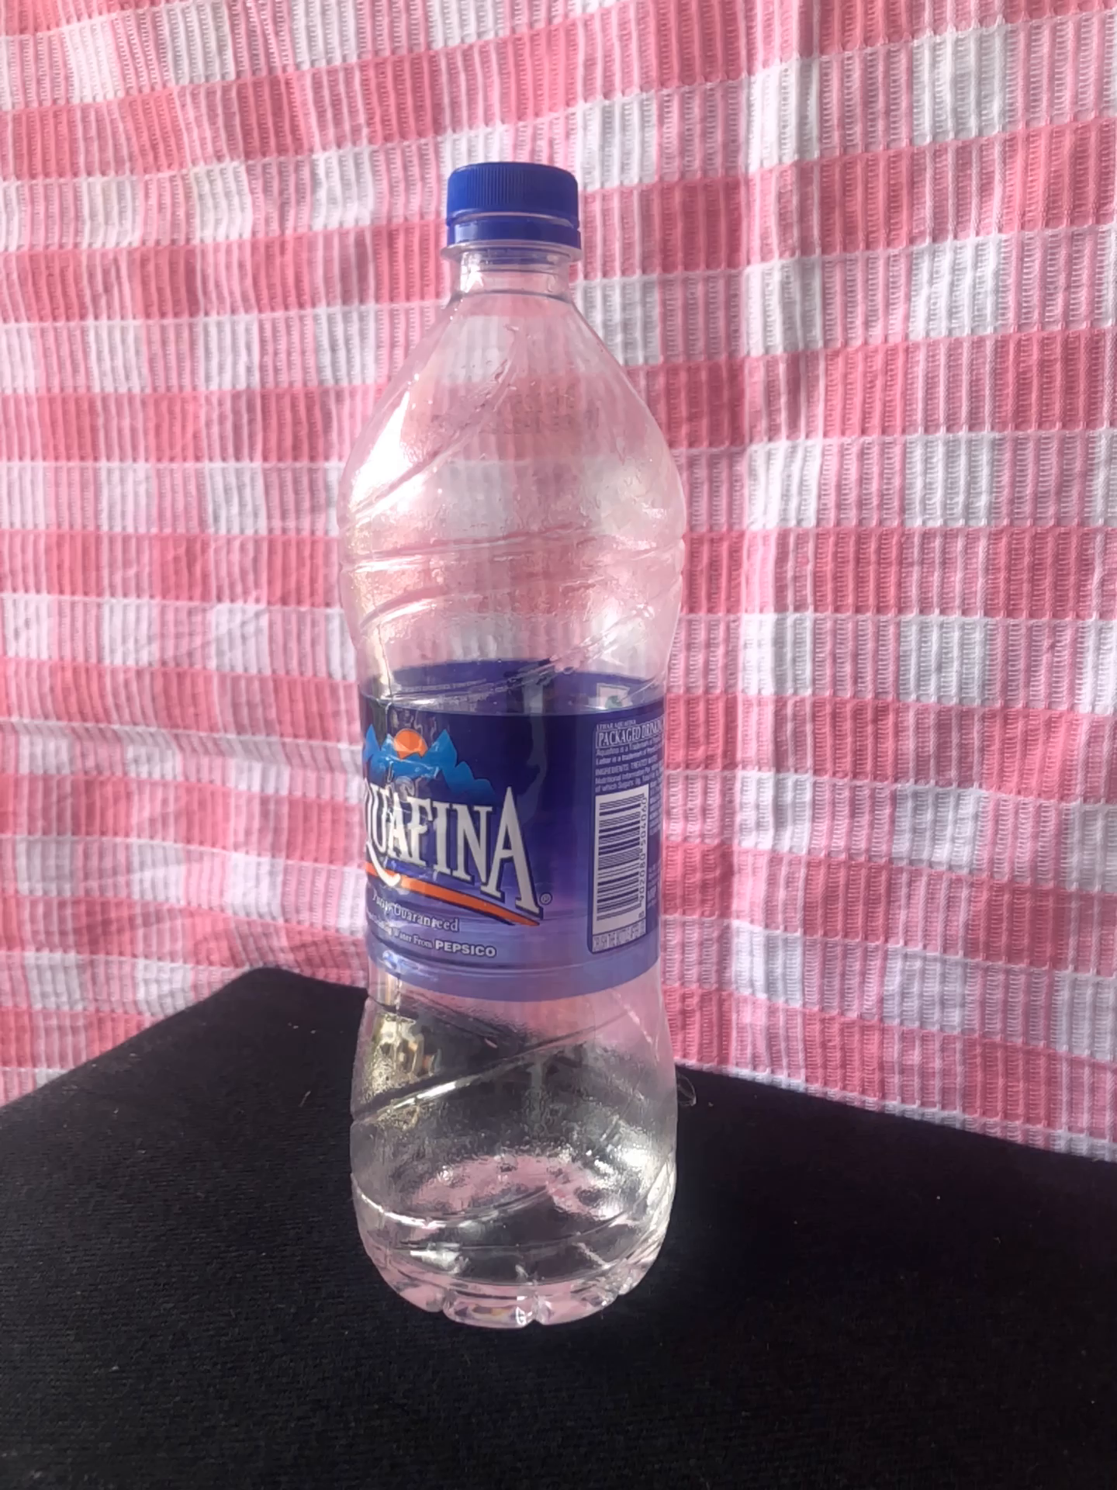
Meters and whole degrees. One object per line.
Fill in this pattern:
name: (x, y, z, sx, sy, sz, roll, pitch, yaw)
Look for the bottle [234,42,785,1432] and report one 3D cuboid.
bottle: (-0.014, 0.002, 0.280, 0.070, 0.259, 0.090, -11, 18, -39)
